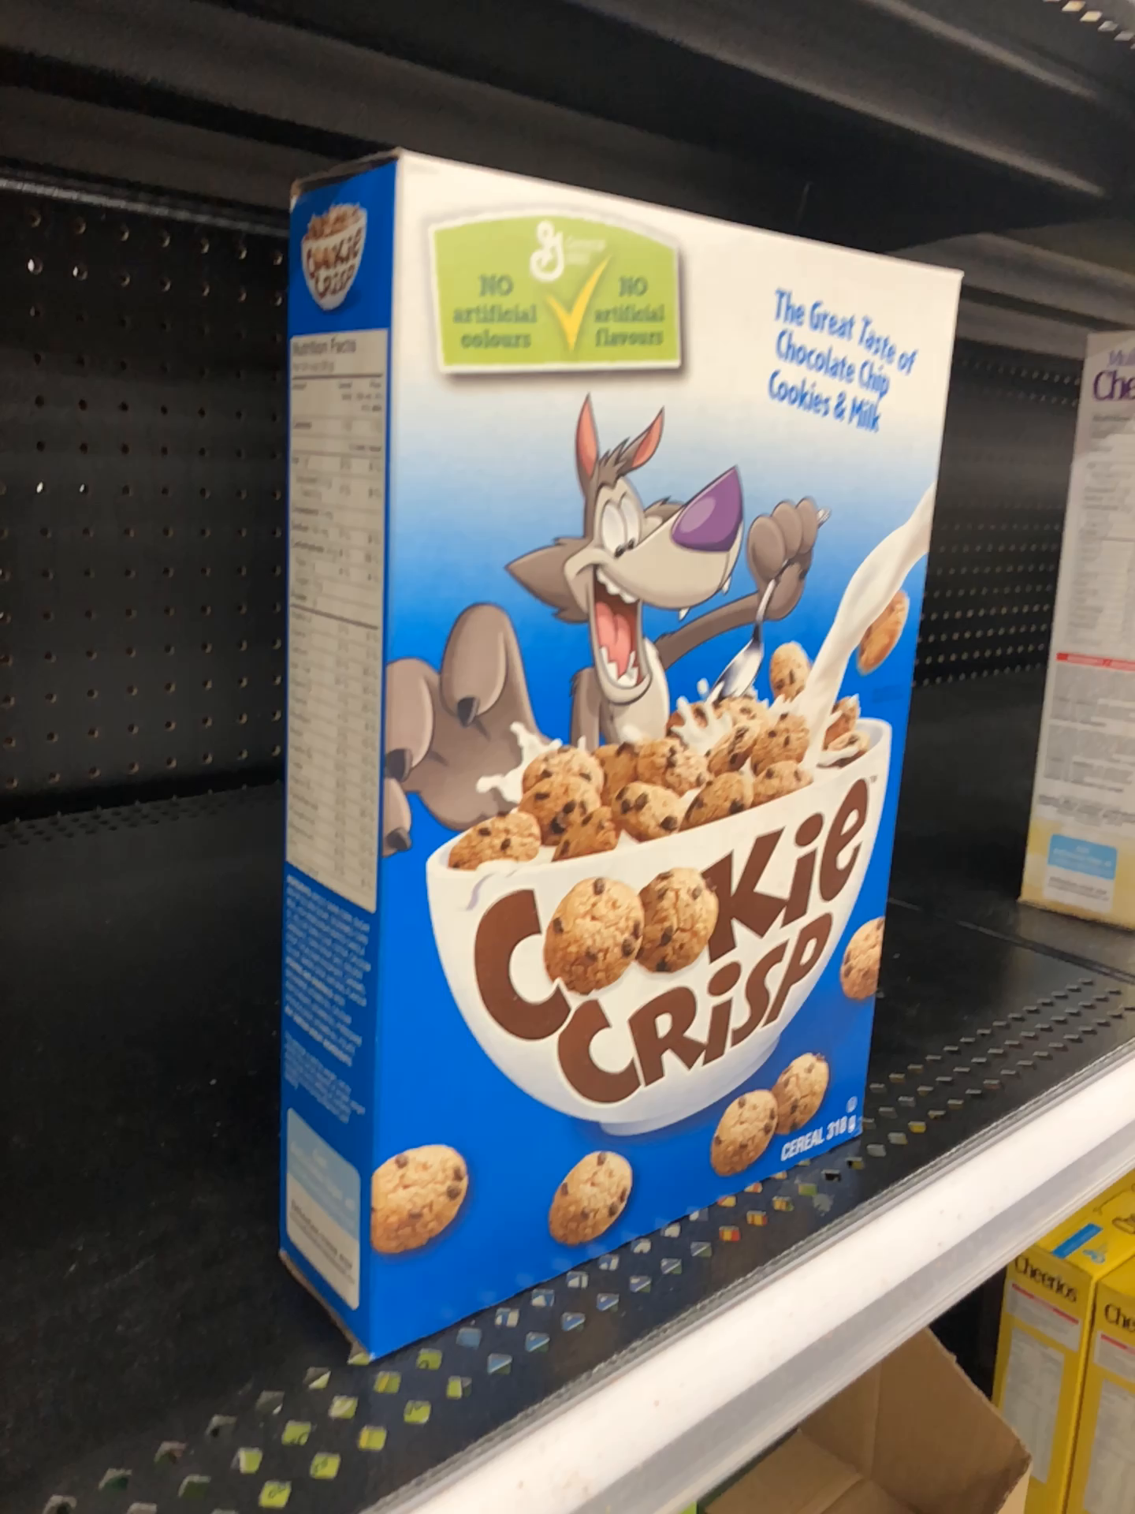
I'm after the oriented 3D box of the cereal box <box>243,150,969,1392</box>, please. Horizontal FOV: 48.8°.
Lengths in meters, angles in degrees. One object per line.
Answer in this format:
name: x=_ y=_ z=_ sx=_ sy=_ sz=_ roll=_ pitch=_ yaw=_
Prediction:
cereal box: x=0.015 y=0.000 z=0.358 sx=0.200 sy=0.279 sz=0.060 roll=-8 pitch=16 yaw=-39
